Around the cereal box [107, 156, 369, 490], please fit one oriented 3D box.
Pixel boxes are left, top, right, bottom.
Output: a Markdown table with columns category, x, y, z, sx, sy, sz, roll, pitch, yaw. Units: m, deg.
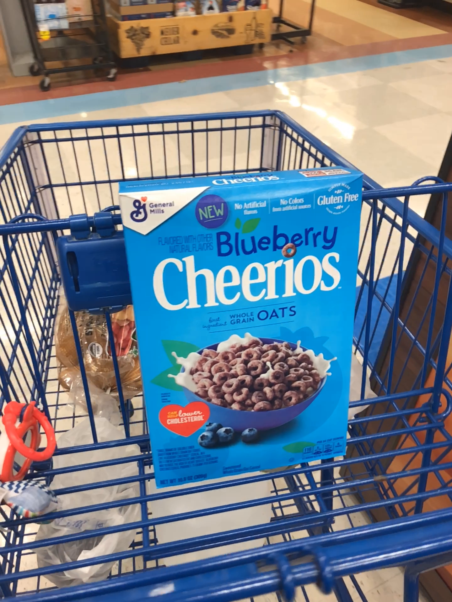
| category | x | y | z | sx | sy | sz | roll | pitch | yaw |
| --- | --- | --- | --- | --- | --- | --- | --- | --- | --- |
| cereal box | 0.012 | 0.022 | 0.456 | 0.200 | 0.280 | 0.070 | -7 | 23 | -9 |
